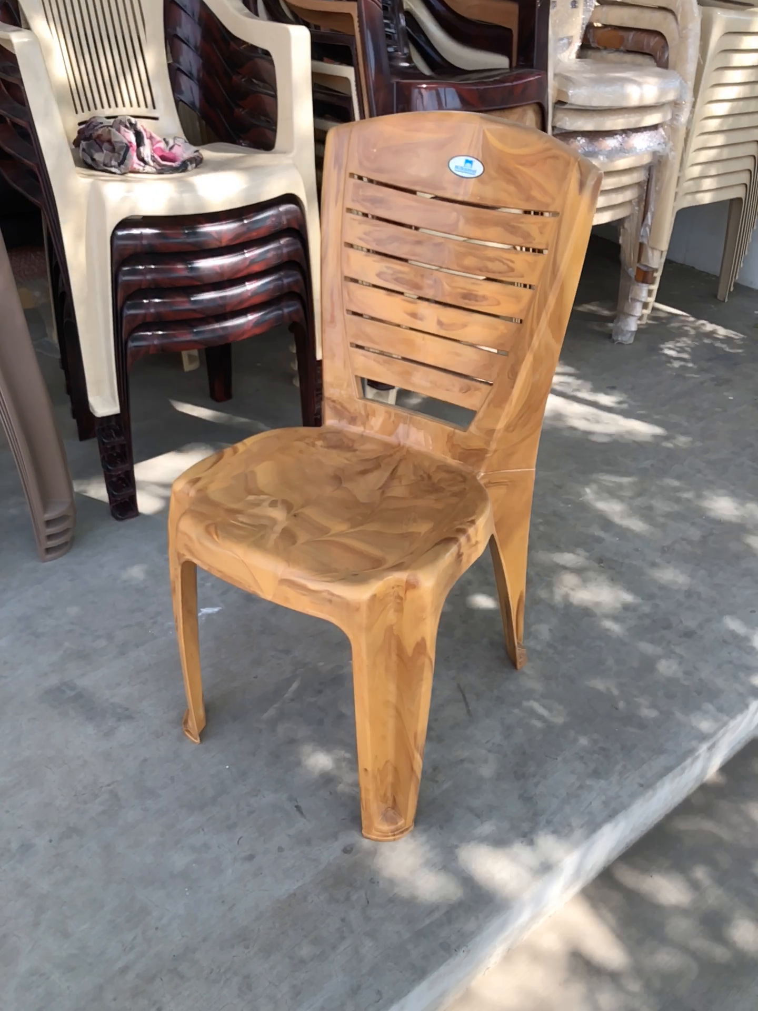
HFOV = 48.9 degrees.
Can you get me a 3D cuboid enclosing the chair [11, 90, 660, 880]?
[{"bbox_3d":[-0.017,-0.067,1.148,0.500,0.815,0.563,18,37,23],"label":"chair"}]
